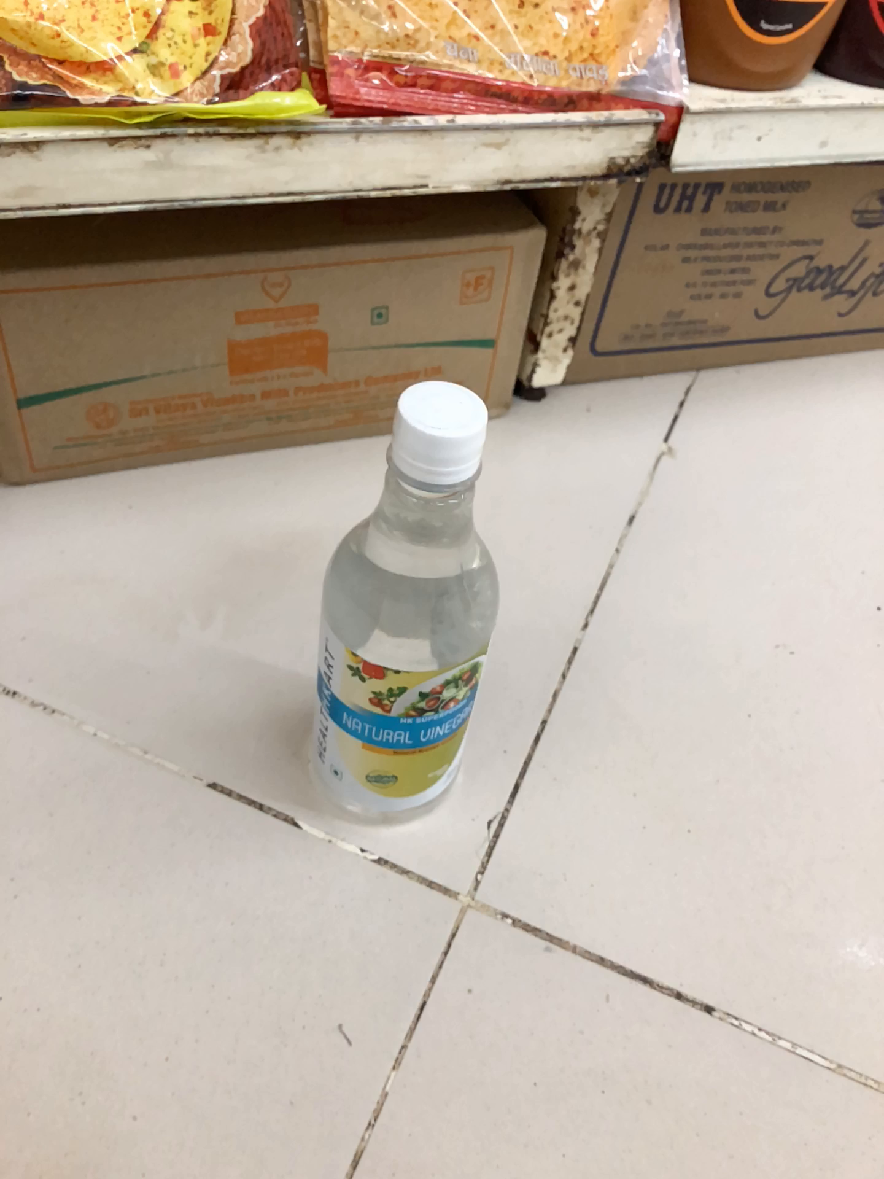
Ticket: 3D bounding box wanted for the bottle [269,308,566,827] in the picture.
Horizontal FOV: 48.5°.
[{"bbox_3d":[-0.019,0.003,0.402,0.090,0.199,0.091,5,46,-6],"label":"bottle"}]
